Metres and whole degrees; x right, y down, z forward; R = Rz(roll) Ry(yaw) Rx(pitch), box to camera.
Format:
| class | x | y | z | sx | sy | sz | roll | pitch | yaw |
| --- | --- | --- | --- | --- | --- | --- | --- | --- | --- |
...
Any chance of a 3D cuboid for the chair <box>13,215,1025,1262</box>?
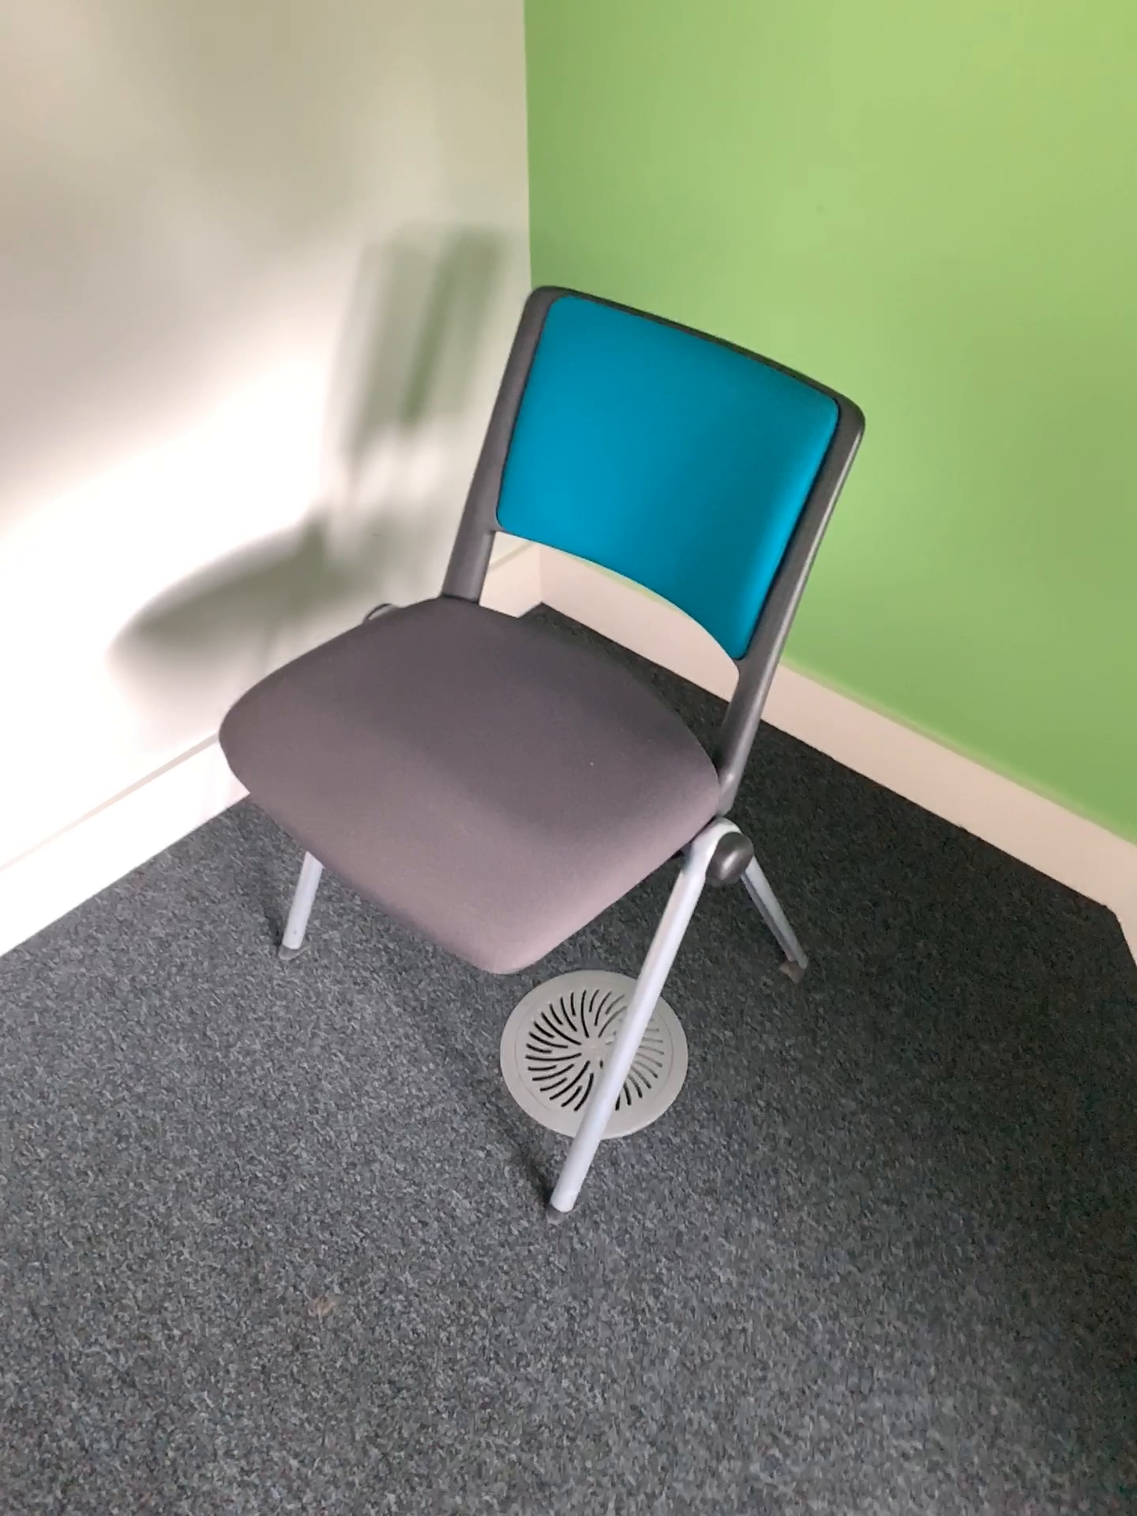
| class | x | y | z | sx | sy | sz | roll | pitch | yaw |
| --- | --- | --- | --- | --- | --- | --- | --- | --- | --- |
| chair | -0.038 | -0.048 | 1.140 | 0.583 | 0.663 | 0.553 | 33 | 52 | 29 |
